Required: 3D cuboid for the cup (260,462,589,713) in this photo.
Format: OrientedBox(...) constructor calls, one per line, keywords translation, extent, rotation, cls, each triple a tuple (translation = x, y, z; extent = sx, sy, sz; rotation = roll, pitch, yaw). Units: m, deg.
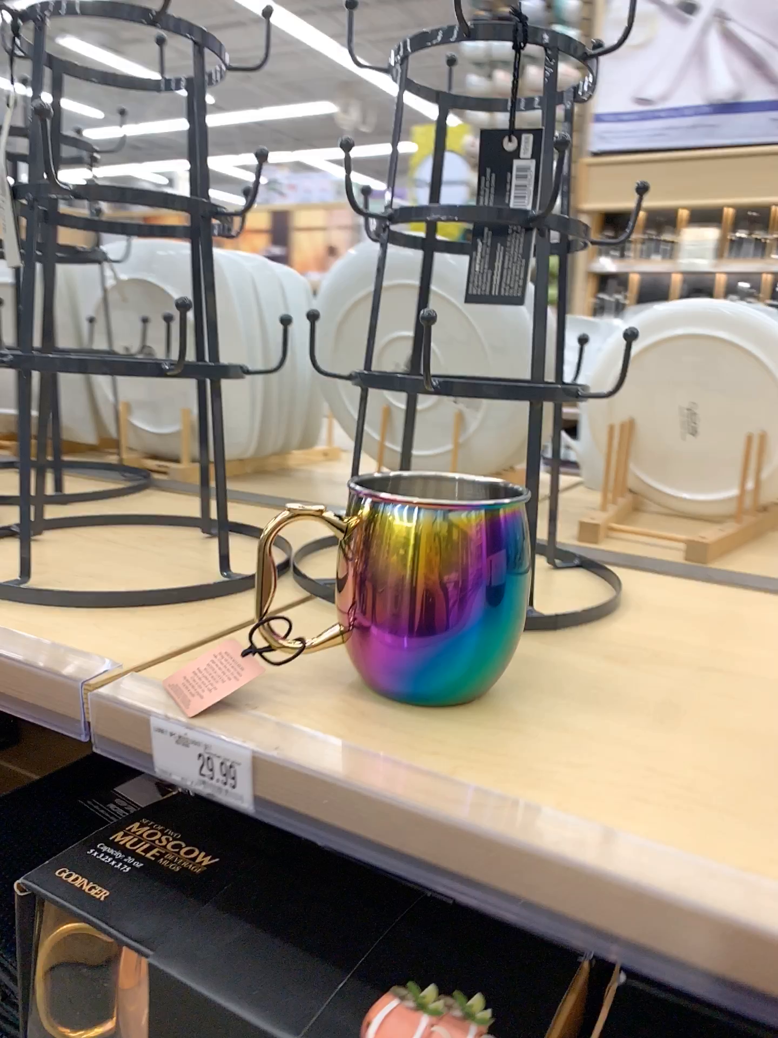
OrientedBox(translation=(0.009, 0.026, 0.372), extent=(0.130, 0.089, 0.085), rotation=(0, 13, -12), cls="cup")
